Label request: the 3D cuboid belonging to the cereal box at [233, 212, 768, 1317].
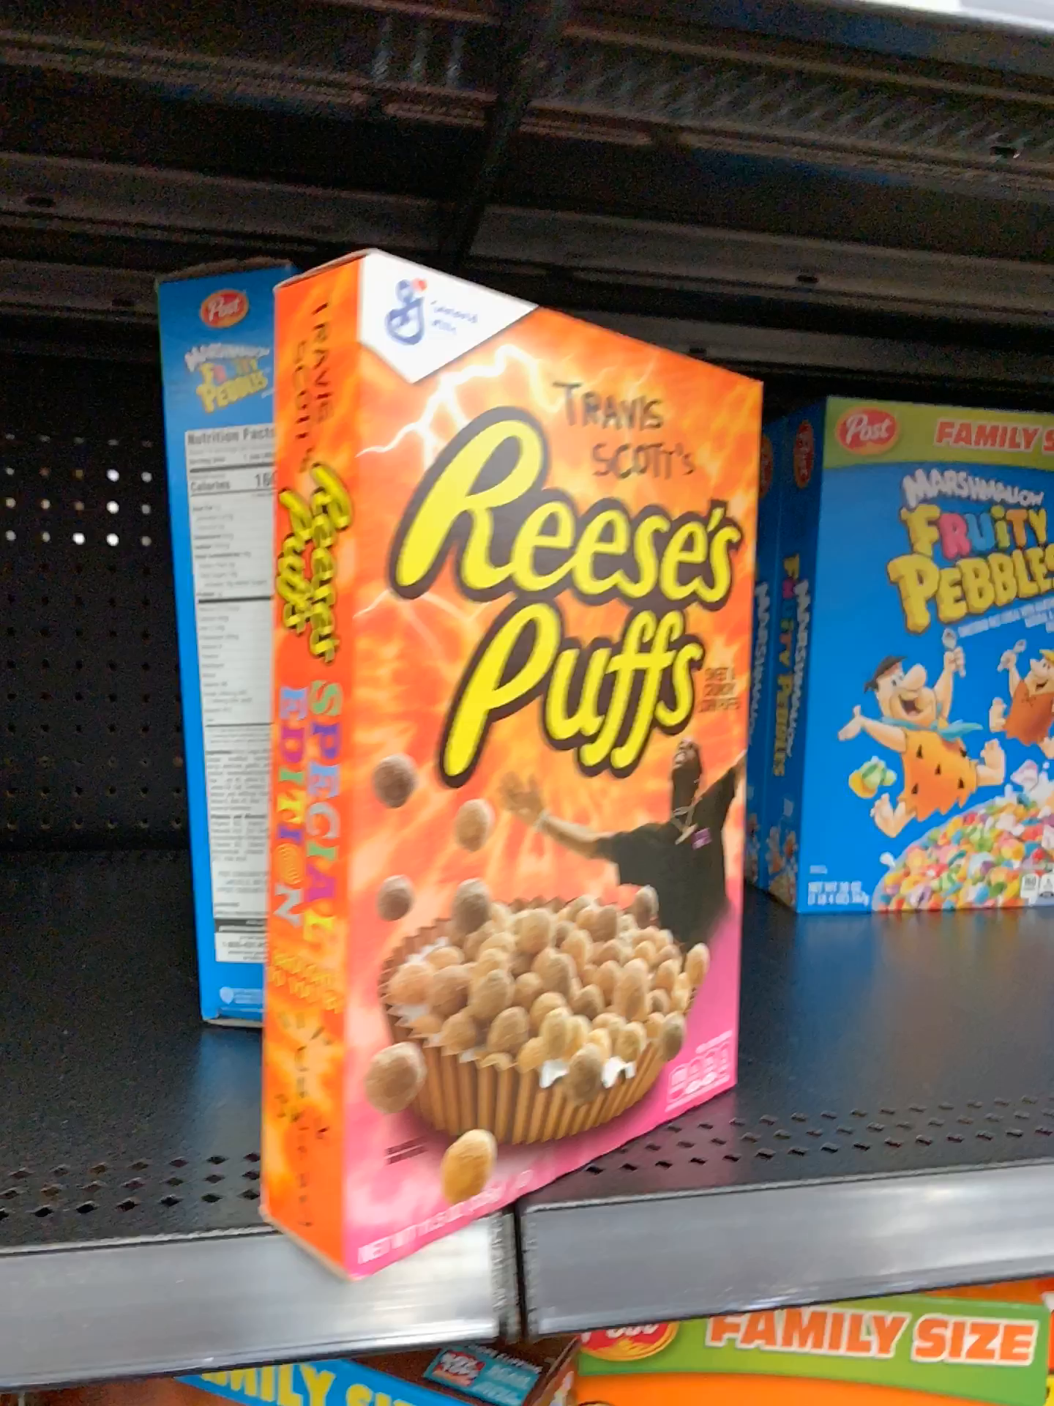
[{"bbox_3d":[0.003,0.014,0.374,0.050,0.290,0.200,4,5,45],"label":"cereal box"}]
